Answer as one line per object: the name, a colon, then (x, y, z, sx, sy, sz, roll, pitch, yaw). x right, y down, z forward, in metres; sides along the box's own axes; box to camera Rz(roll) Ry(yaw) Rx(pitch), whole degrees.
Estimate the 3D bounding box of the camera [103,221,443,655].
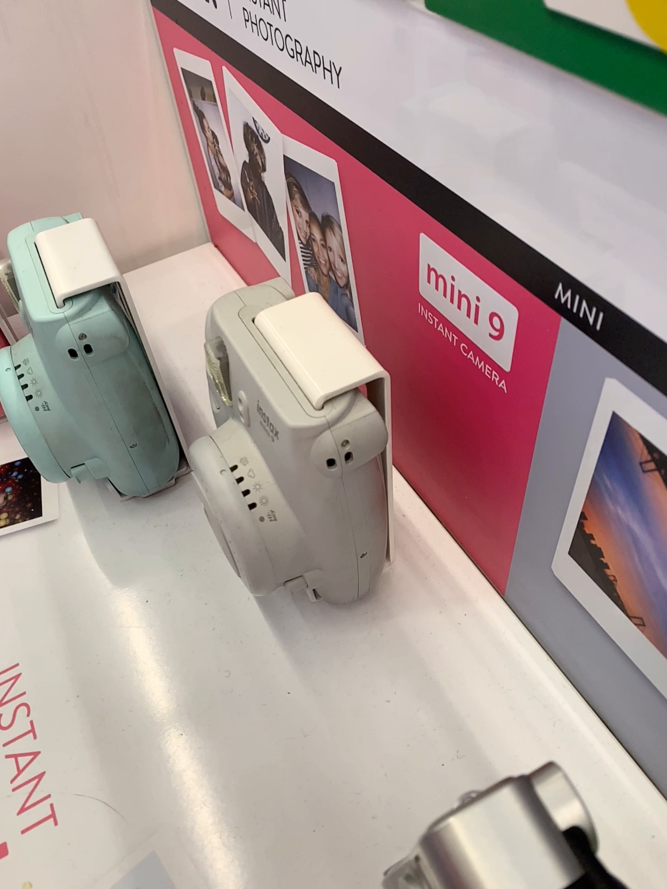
camera: (-0.022, -0.004, 0.276, 0.080, 0.109, 0.111, -24, 50, -14)
